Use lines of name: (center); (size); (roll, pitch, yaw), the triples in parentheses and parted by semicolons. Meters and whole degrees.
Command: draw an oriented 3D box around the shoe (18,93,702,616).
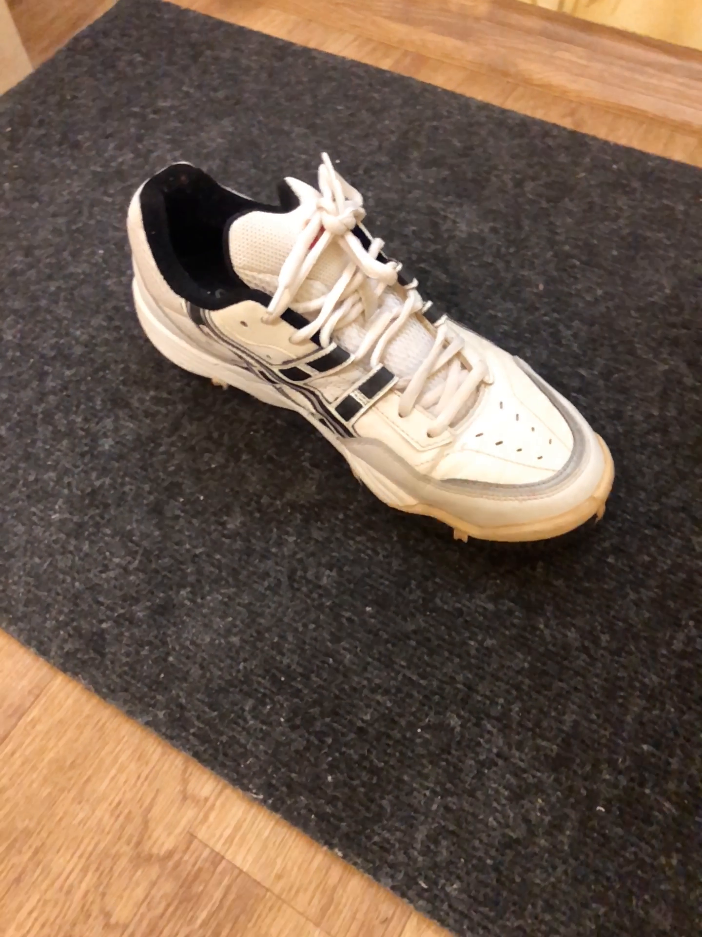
shoe: (-0.003, -0.062, 0.364); (0.280, 0.100, 0.100); (29, 65, 20)
